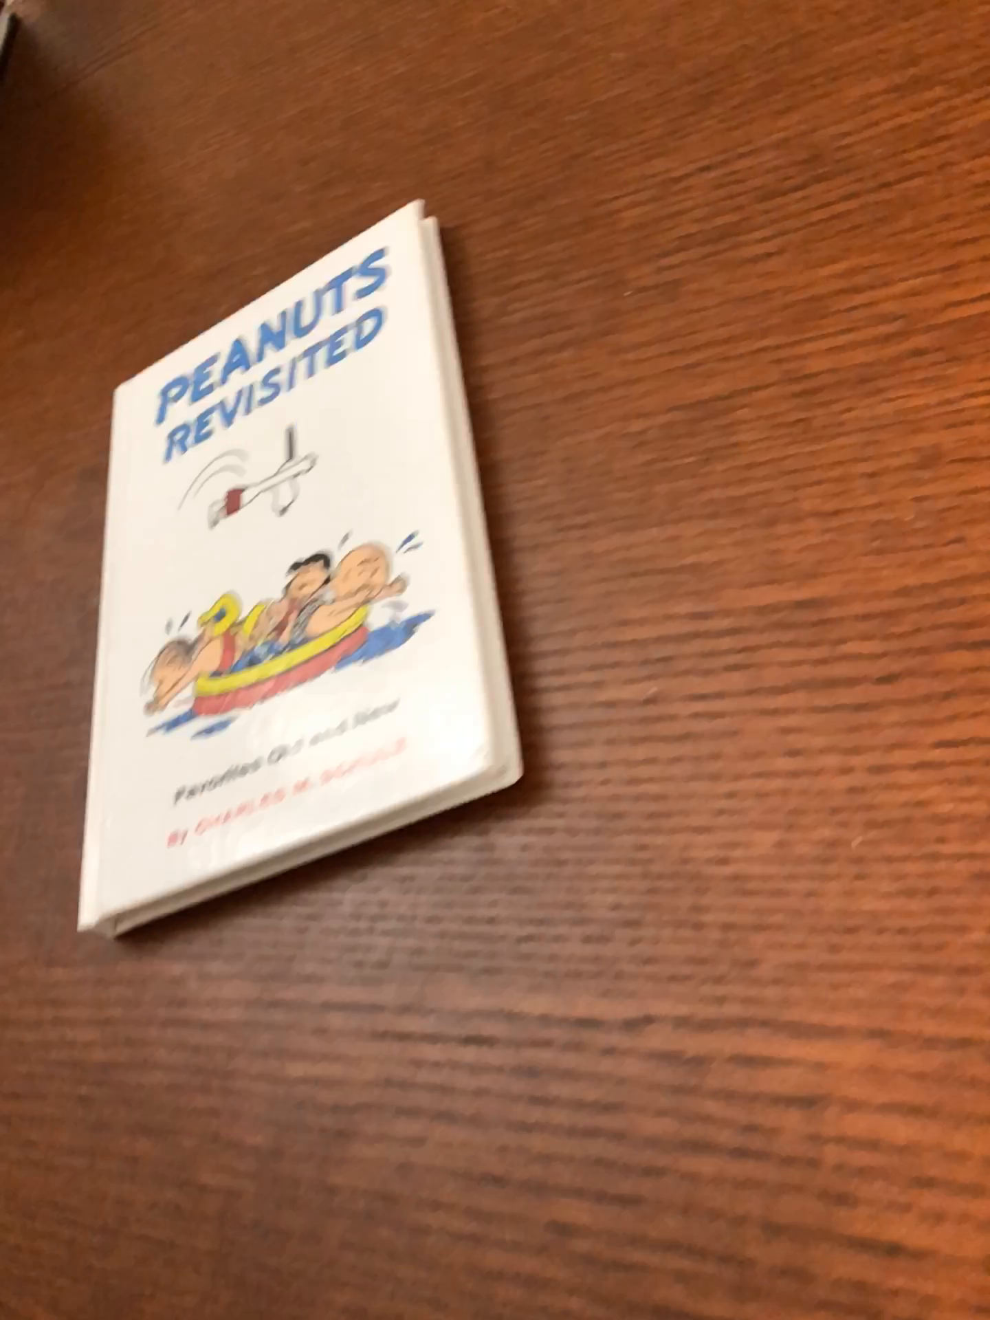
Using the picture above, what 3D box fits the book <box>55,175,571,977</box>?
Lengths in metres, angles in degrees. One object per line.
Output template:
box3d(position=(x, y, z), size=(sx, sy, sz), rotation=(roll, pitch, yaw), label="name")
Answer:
box3d(position=(-0.065, -0.033, 0.336), size=(0.150, 0.020, 0.221), rotation=(-23, 56, 23), label="book")
